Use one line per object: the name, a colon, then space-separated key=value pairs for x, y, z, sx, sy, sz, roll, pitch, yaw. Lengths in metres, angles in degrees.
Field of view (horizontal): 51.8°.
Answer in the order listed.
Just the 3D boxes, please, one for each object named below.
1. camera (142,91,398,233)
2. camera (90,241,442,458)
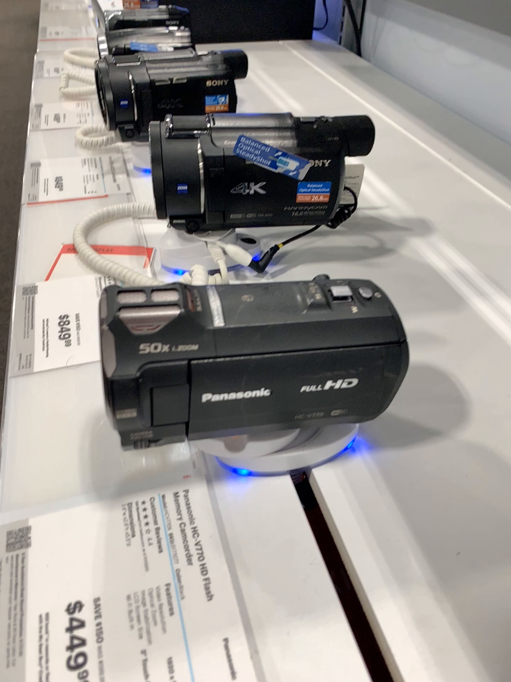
camera: x=0.005 y=-0.132 z=0.386 sx=0.166 sy=0.073 sz=0.071 roll=-4 pitch=42 yaw=-11
camera: x=-0.001 y=0.000 z=0.244 sx=0.139 sy=0.061 sz=0.065 roll=-5 pitch=42 yaw=-15
